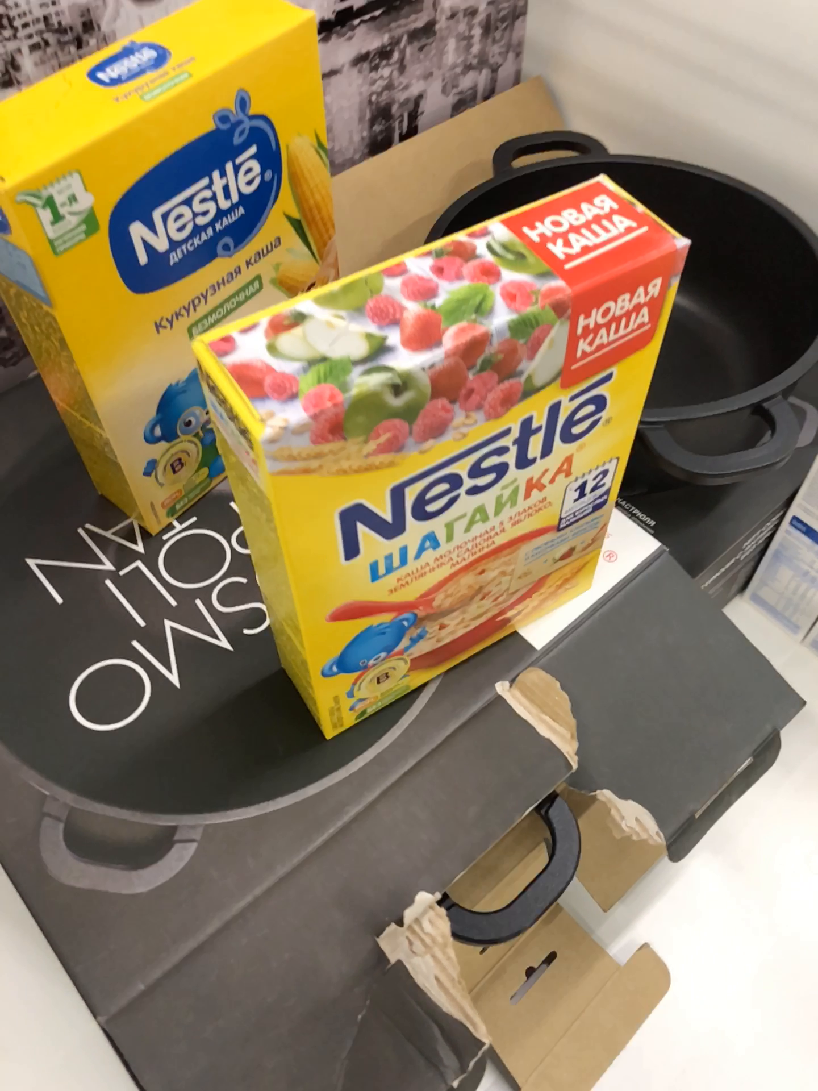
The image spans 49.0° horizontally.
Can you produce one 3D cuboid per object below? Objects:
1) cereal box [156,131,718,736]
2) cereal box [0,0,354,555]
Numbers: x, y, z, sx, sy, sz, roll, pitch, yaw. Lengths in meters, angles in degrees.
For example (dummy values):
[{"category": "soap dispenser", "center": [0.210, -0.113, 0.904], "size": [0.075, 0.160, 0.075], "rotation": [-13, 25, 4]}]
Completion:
[{"category": "cereal box", "center": [0.014, -0.027, 0.341], "size": [0.160, 0.199, 0.050], "rotation": [-27, 58, -15]}, {"category": "cereal box", "center": [-0.105, -0.116, 0.408], "size": [0.050, 0.199, 0.160], "rotation": [34, 63, 22]}]
